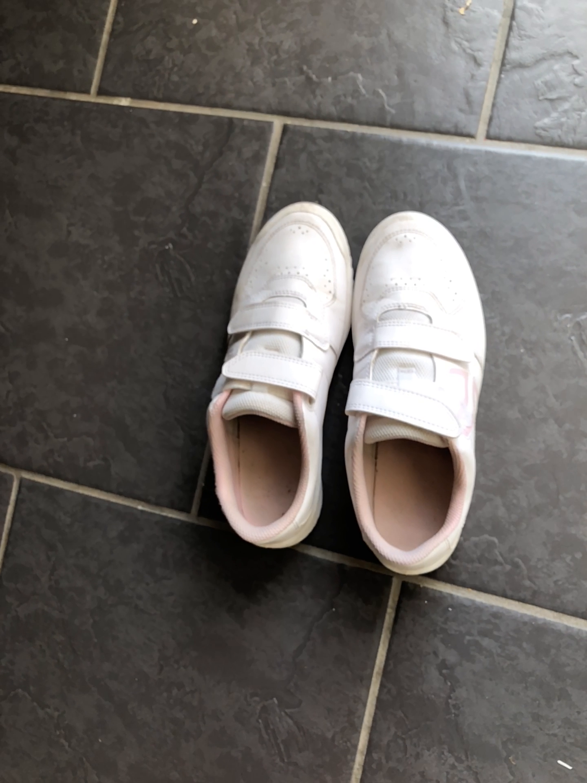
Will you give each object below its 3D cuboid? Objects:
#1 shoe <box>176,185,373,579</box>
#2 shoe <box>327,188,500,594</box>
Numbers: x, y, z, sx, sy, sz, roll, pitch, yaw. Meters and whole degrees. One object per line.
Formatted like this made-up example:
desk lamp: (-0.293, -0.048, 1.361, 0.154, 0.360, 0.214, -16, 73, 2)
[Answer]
shoe: (-0.008, -0.008, 0.471, 0.095, 0.090, 0.250, 6, 87, 13)
shoe: (0.085, -0.002, 0.456, 0.095, 0.090, 0.250, 3, 87, 13)
